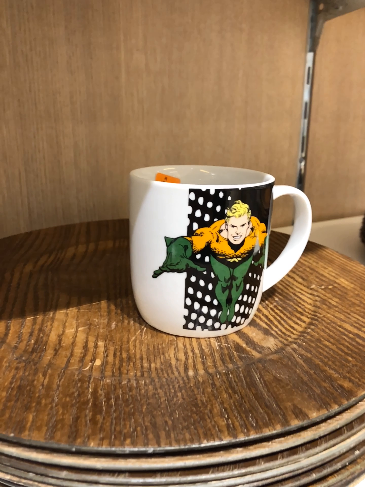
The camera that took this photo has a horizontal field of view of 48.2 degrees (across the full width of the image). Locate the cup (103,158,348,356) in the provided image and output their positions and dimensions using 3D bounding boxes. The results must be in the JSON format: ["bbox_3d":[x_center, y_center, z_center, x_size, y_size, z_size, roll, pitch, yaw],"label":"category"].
[{"bbox_3d":[0.021,-0.004,0.262,0.120,0.090,0.090,-7,18,-22],"label":"cup"}]
